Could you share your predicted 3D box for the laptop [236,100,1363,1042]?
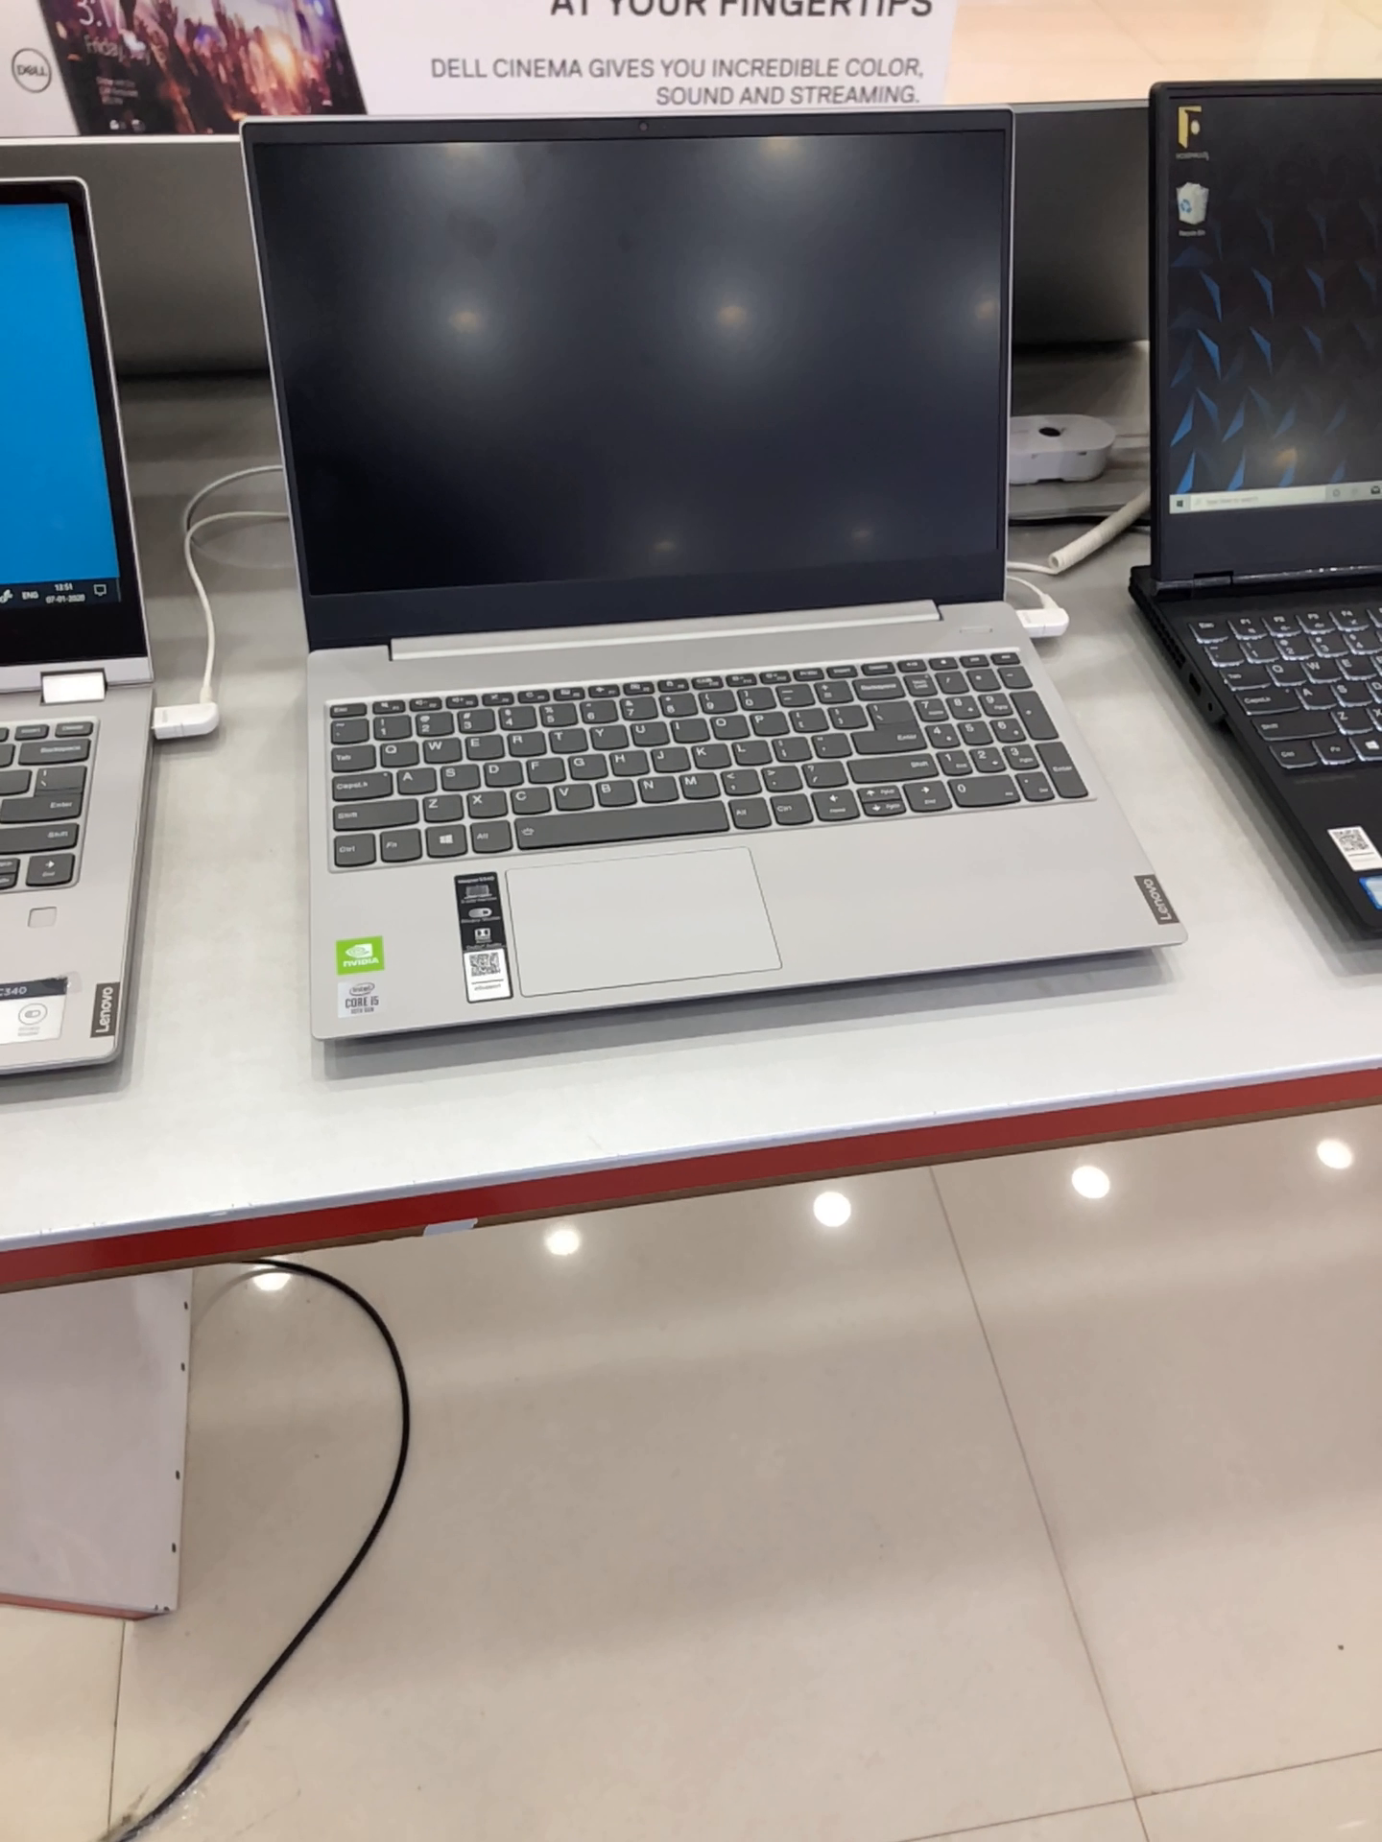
[{"bbox_3d":[0.007,-0.169,0.633,0.342,0.196,0.346,-6,47,-9],"label":"laptop"}]
